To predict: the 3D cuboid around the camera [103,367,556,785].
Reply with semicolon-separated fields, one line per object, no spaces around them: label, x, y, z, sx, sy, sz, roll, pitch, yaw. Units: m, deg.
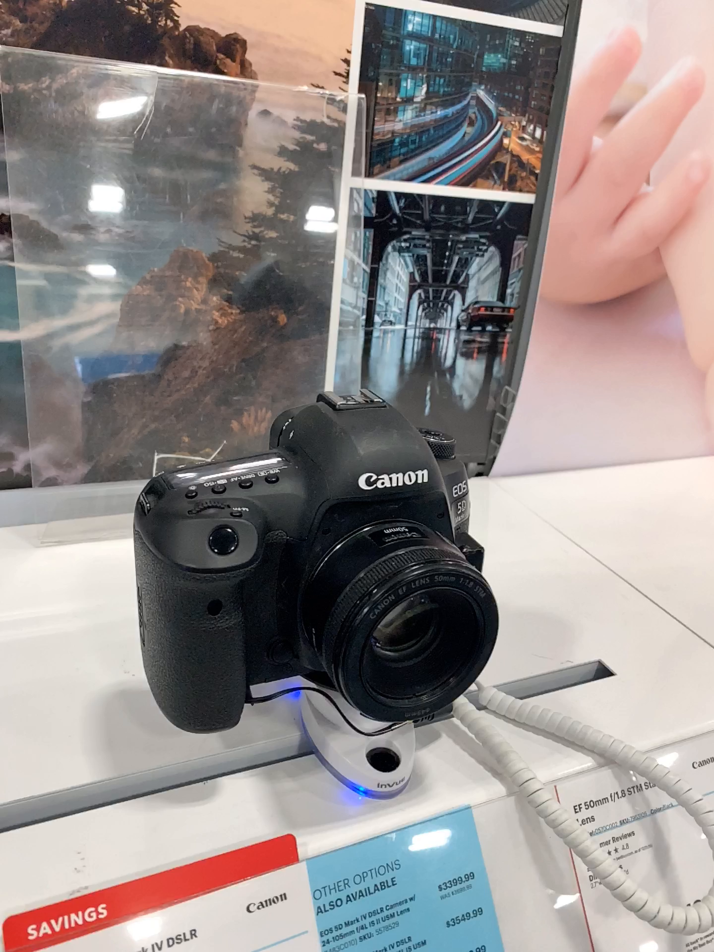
camera;-0.021;0.026;0.299;0.140;0.106;0.112;-6;26;-23
